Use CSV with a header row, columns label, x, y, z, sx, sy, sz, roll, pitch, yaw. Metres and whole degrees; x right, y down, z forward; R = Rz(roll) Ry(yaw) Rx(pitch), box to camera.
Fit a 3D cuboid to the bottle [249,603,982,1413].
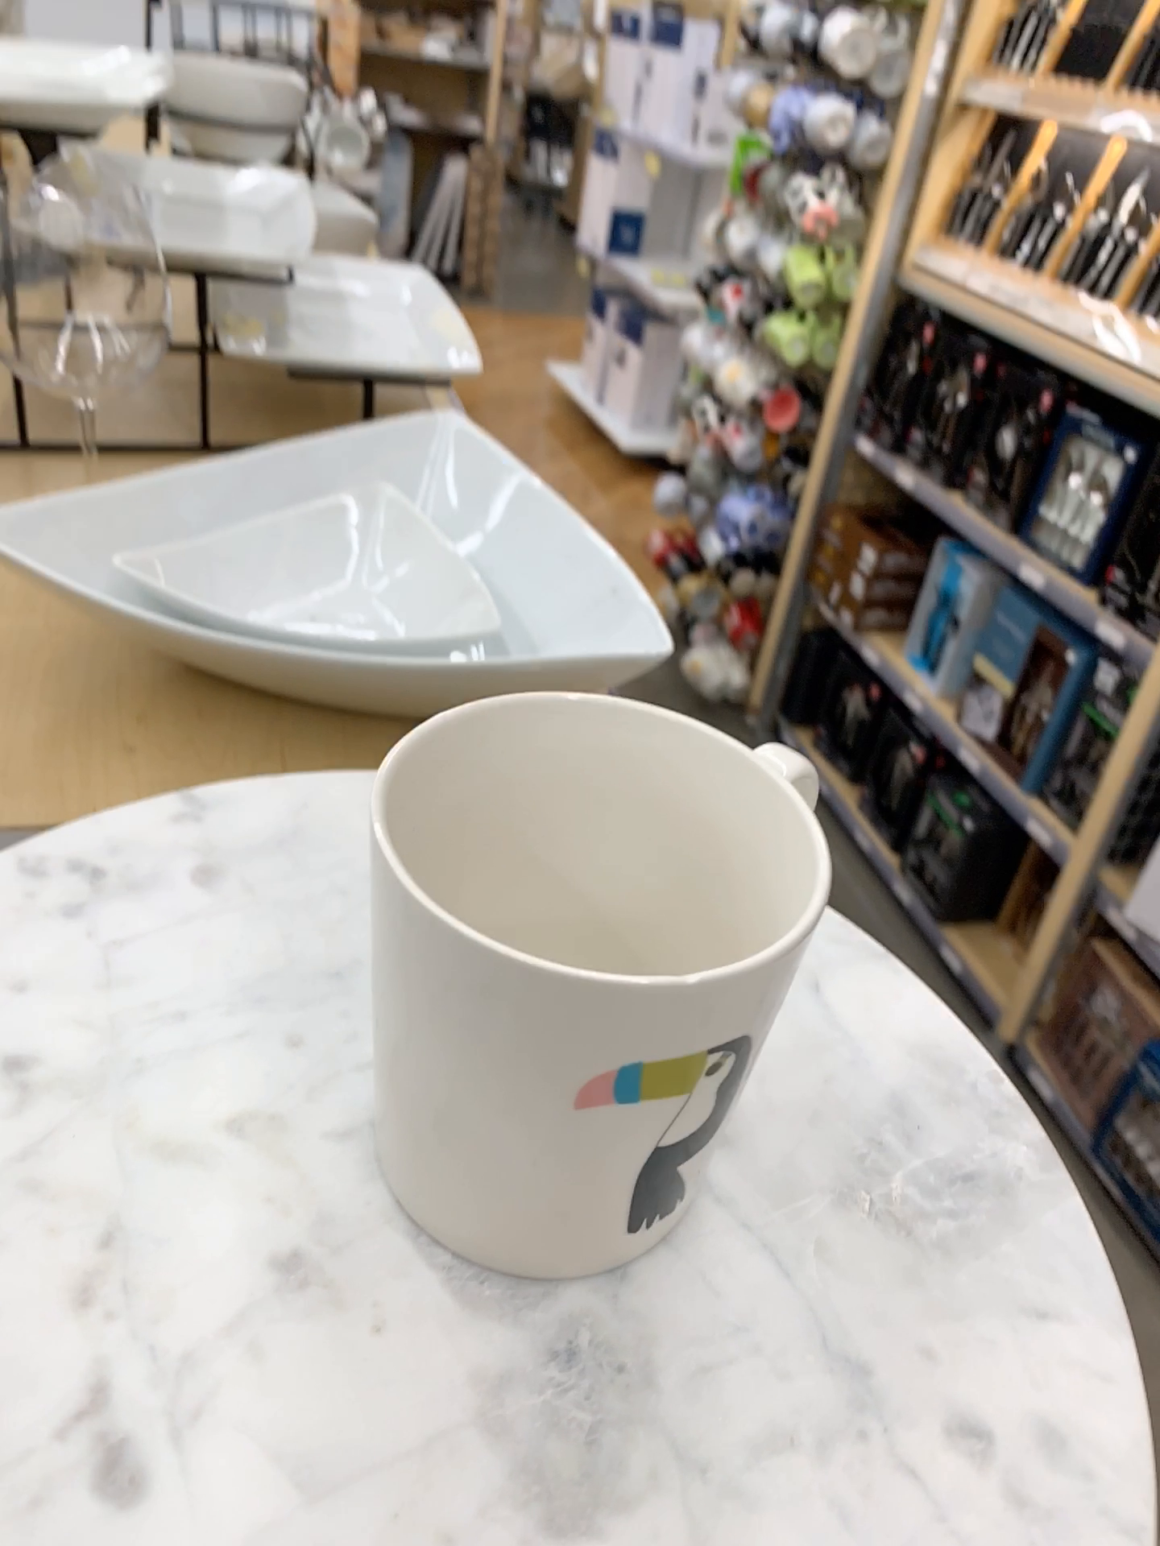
label,x,y,z,sx,sy,sz,roll,pitch,yaw
bottle,0.009,0.044,0.301,0.104,0.107,0.143,29,37,26
